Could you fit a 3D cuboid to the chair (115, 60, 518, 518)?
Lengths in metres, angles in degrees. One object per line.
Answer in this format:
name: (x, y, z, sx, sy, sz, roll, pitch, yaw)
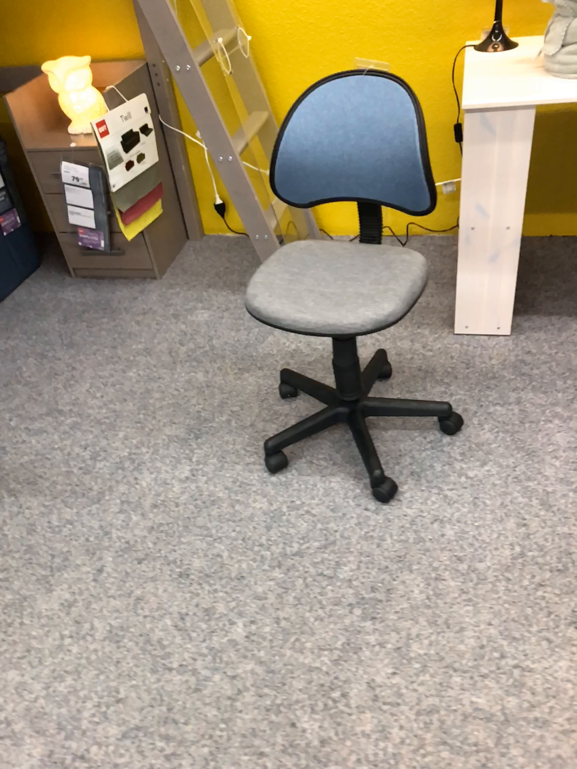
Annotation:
chair: (0.127, -0.221, 1.390, 0.599, 0.746, 0.564, 7, 41, 19)
